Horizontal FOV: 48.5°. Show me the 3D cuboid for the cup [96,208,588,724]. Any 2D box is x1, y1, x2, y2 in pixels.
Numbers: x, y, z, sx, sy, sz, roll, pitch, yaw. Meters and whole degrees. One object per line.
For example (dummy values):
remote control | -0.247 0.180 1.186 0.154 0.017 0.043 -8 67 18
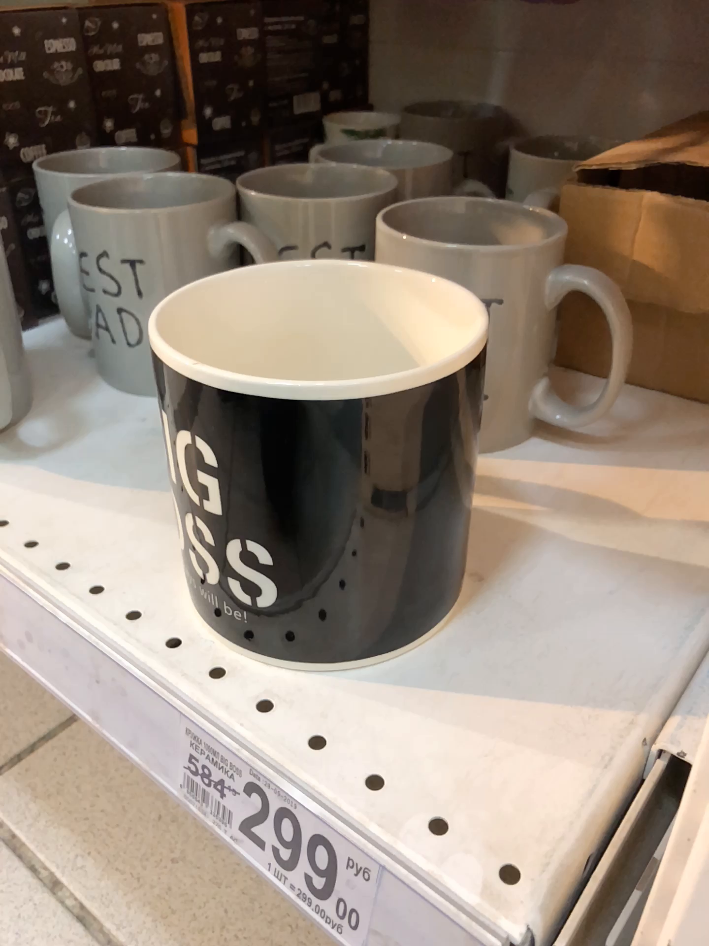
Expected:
cup | -0.021 -0.024 0.339 0.128 0.122 0.189 -13 34 -20
